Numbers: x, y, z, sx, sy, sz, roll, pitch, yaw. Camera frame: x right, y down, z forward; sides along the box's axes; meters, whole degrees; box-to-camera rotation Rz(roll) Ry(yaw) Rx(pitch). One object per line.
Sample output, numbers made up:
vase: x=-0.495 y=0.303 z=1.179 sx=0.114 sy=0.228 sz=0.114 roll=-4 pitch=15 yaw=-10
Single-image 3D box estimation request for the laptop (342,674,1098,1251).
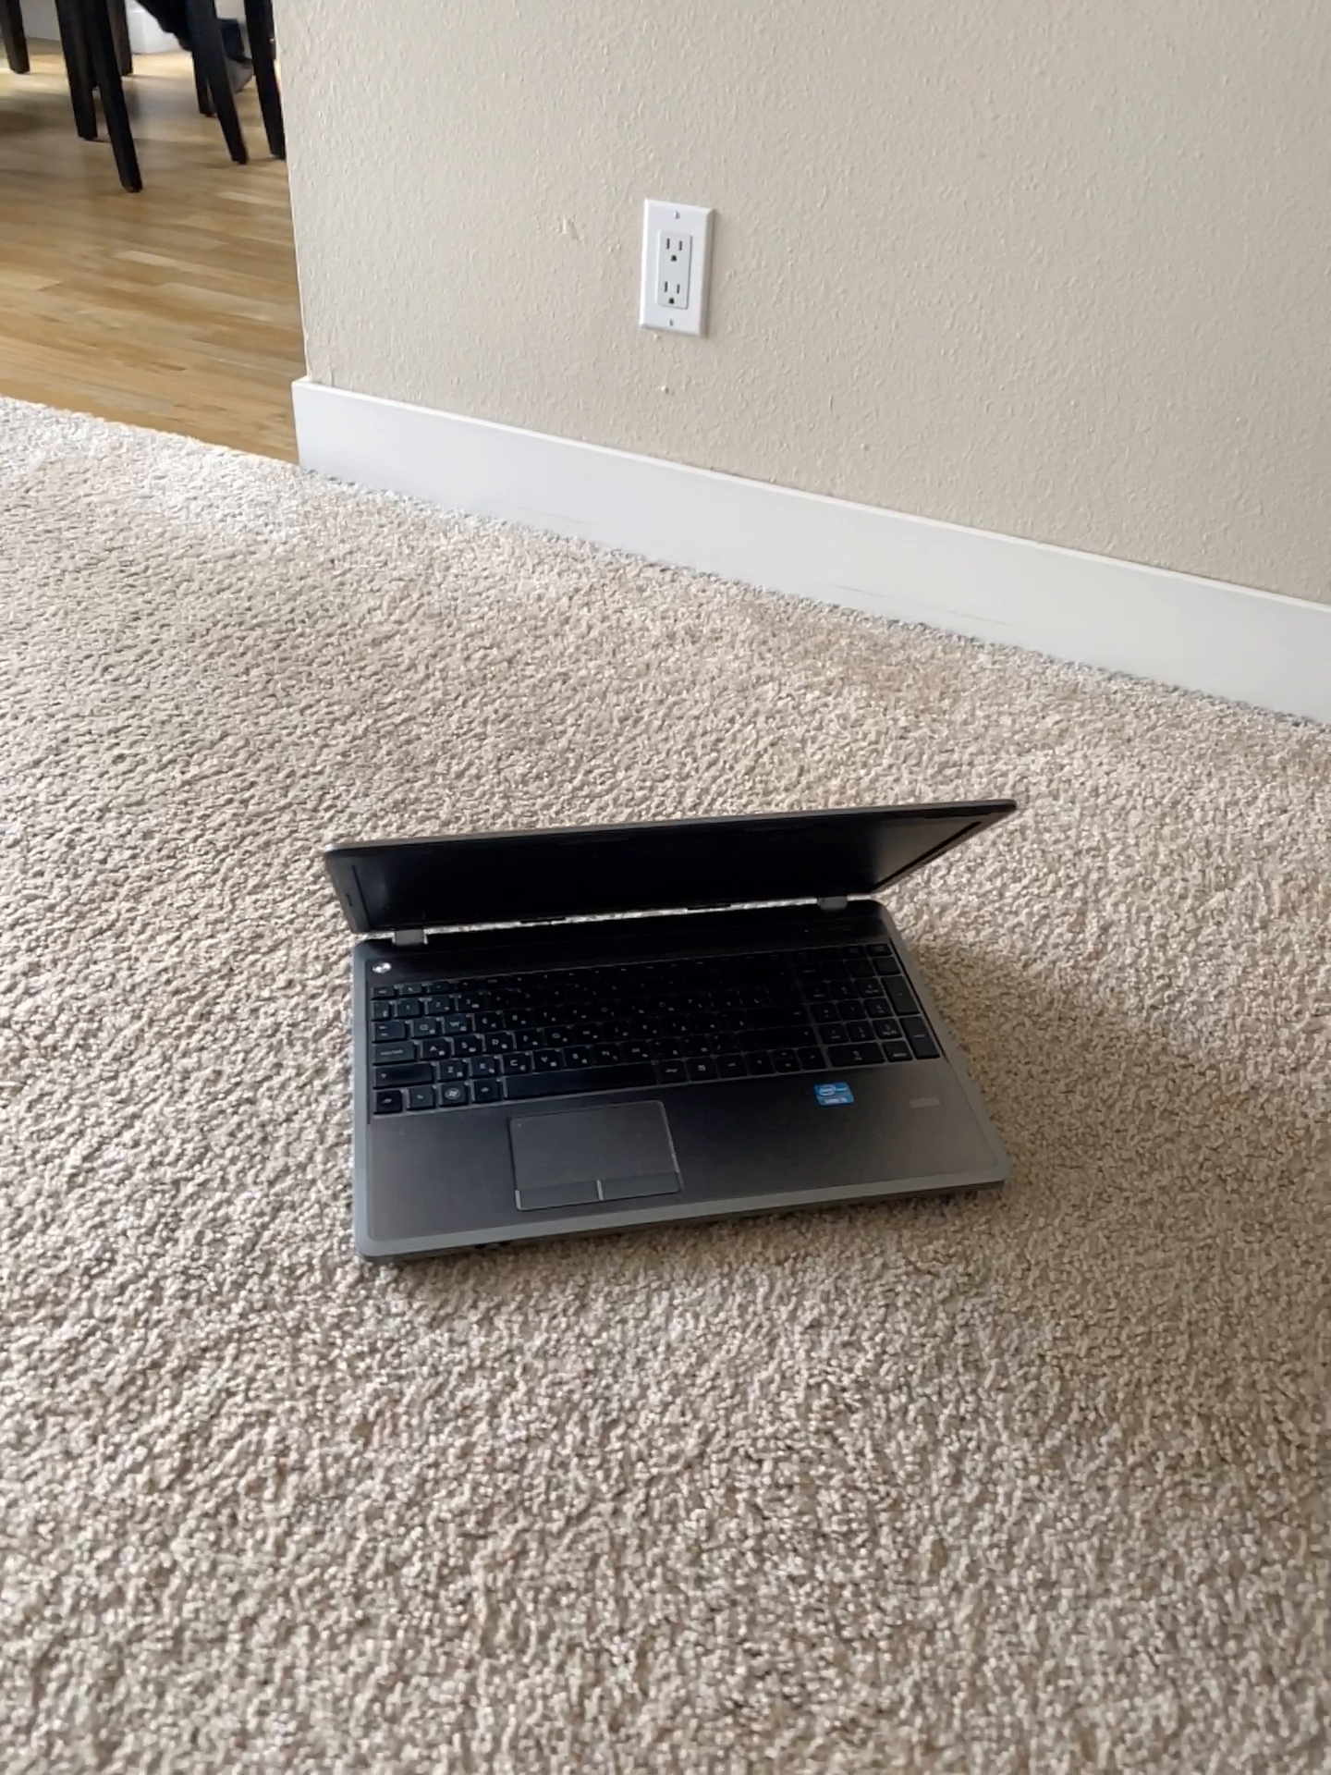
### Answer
laptop: x=0.006 y=0.027 z=0.793 sx=0.368 sy=0.186 sz=0.255 roll=-4 pitch=38 yaw=-11
